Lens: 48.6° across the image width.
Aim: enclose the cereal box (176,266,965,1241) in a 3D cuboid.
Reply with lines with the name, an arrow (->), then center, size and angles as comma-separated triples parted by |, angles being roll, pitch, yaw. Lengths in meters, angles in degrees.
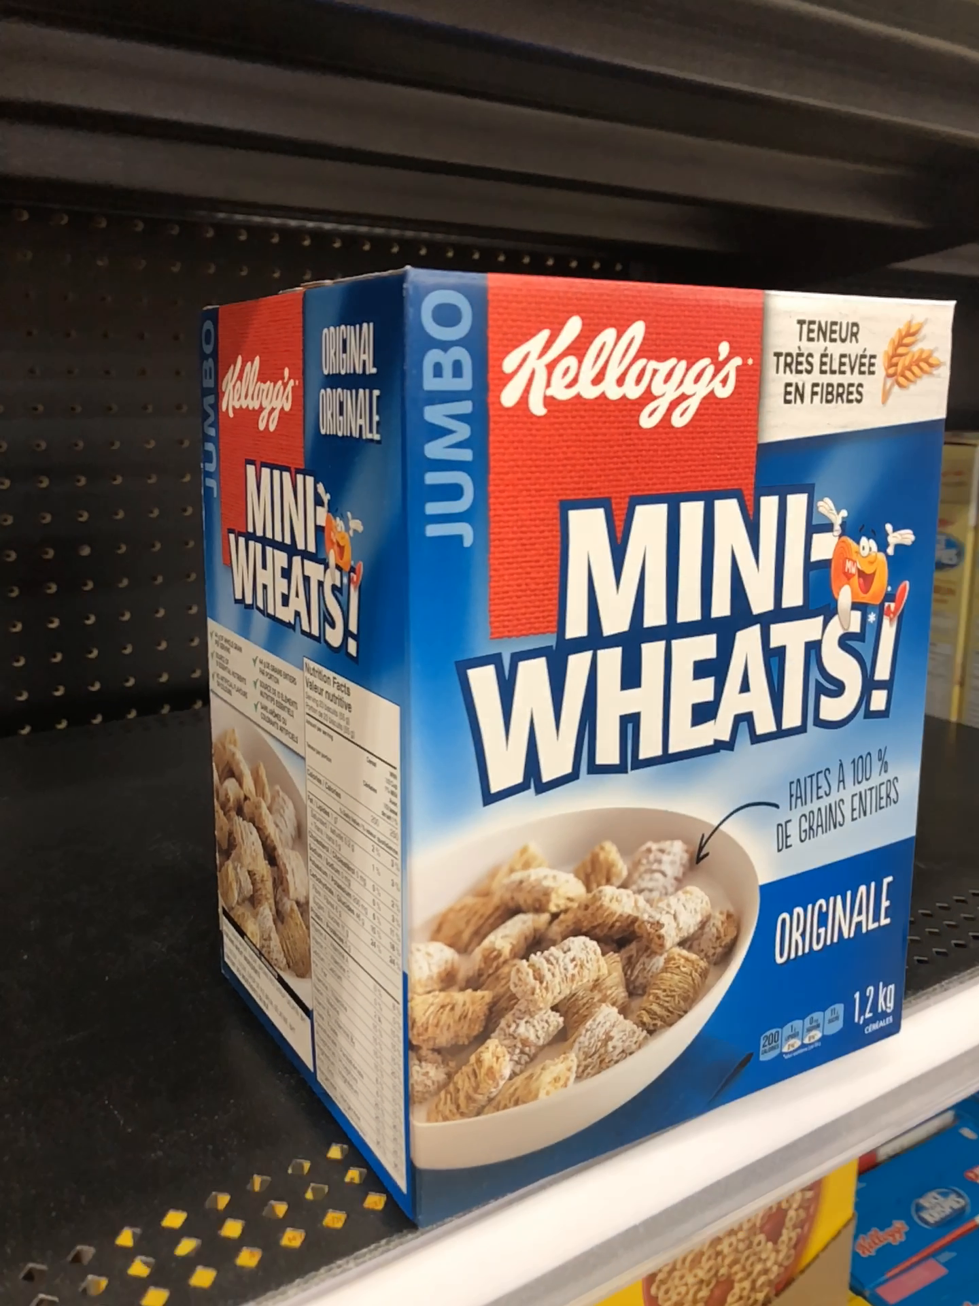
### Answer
cereal box -> 0.019, 0.008, 0.387 | 0.200, 0.249, 0.170 | -7, 15, -31
